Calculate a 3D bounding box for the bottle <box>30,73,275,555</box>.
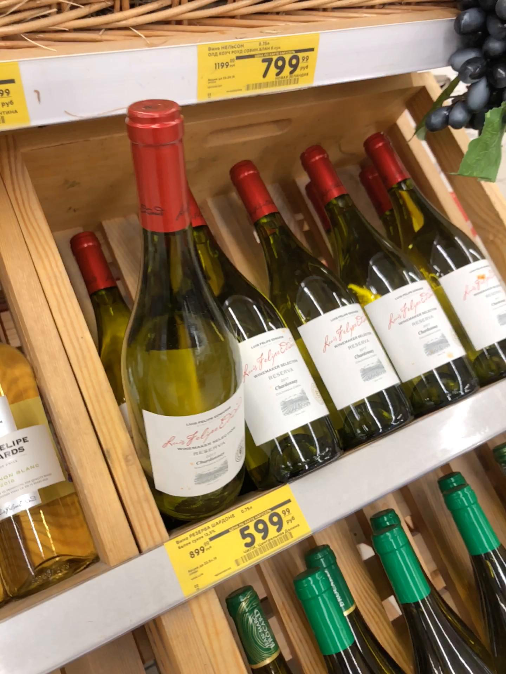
[{"bbox_3d":[-0.054,-0.007,0.372,0.100,0.289,0.100,-1,32,1],"label":"bottle"}]
